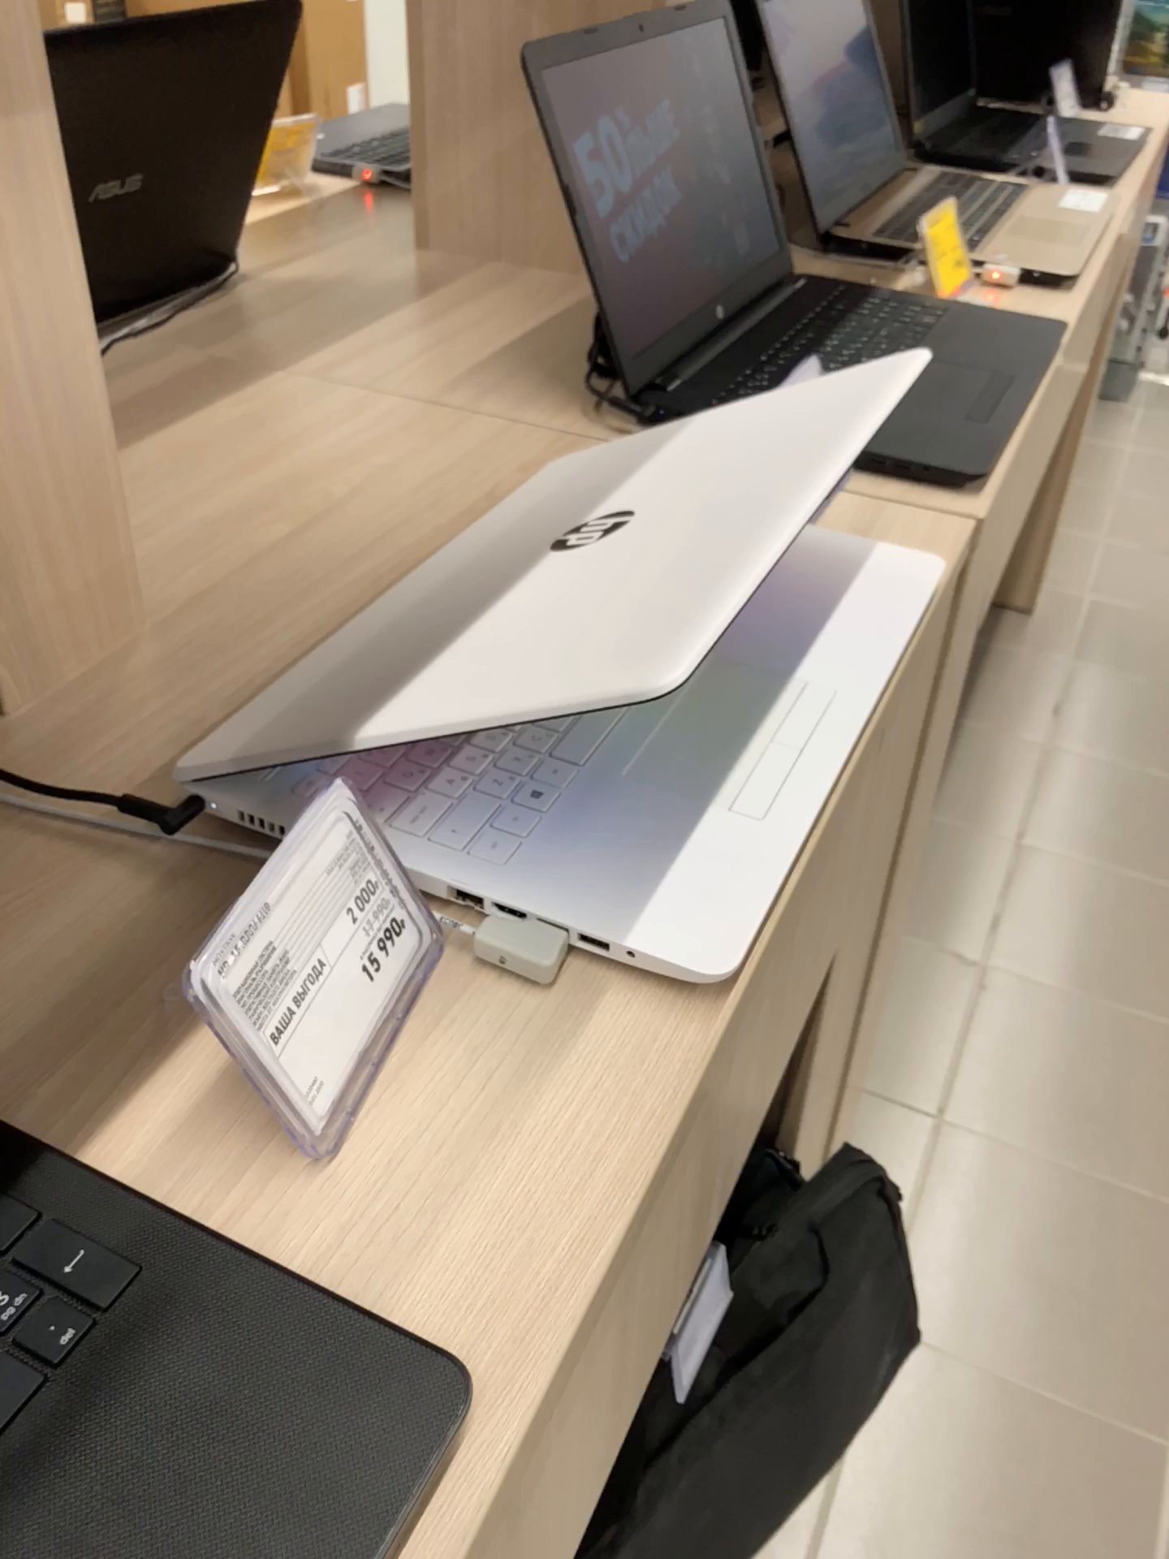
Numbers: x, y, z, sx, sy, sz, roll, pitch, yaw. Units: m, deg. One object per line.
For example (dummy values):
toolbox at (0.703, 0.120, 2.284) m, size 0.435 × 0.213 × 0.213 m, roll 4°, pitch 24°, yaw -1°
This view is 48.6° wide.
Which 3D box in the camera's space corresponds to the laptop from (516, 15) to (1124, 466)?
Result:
laptop at (0.188, -0.438, 0.991) m, size 0.349 × 0.219 × 0.393 m, roll 16°, pitch 36°, yaw 18°

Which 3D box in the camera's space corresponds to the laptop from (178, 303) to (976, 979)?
laptop at (0.027, -0.103, 0.616) m, size 0.232 × 0.103 × 0.370 m, roll 19°, pitch 39°, yaw 17°

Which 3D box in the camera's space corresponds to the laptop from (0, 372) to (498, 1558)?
laptop at (-0.275, 0.122, 0.192) m, size 0.368 × 0.203 × 0.388 m, roll 17°, pitch 37°, yaw 19°
